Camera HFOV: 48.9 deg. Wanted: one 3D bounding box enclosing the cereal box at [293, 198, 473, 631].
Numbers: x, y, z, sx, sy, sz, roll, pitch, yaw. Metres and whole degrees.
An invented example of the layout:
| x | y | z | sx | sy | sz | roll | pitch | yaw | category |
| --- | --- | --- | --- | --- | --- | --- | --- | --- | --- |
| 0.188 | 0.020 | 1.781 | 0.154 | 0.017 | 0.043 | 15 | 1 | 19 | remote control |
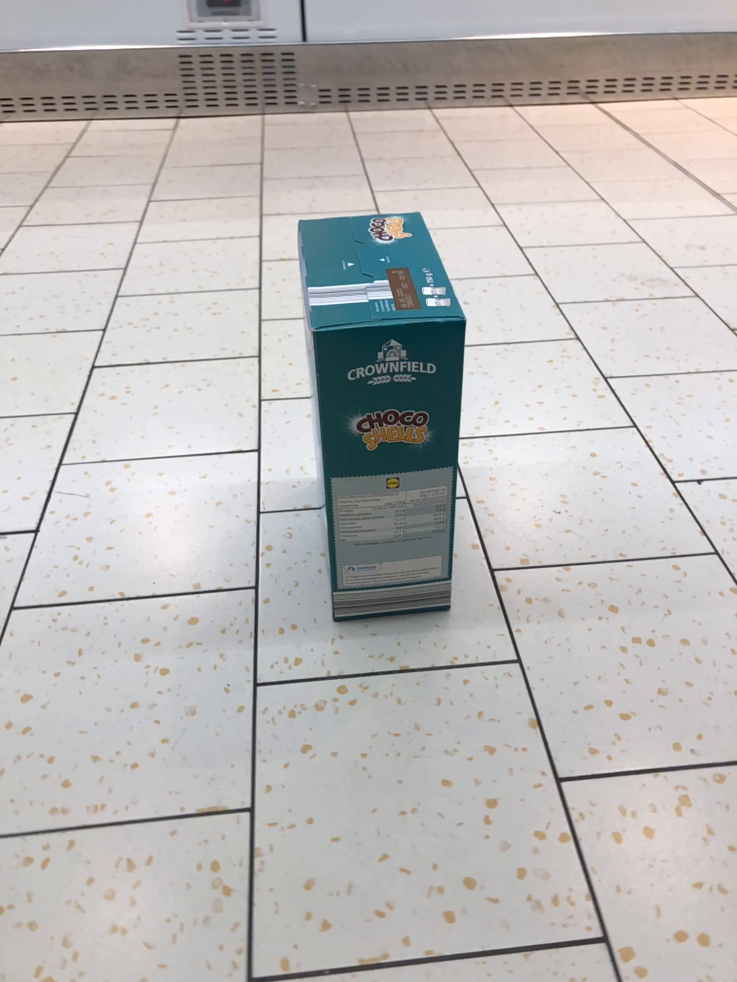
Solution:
| x | y | z | sx | sy | sz | roll | pitch | yaw | category |
| --- | --- | --- | --- | --- | --- | --- | --- | --- | --- |
| 0.004 | -0.063 | 0.650 | 0.100 | 0.268 | 0.211 | -5 | 37 | -5 | cereal box |
